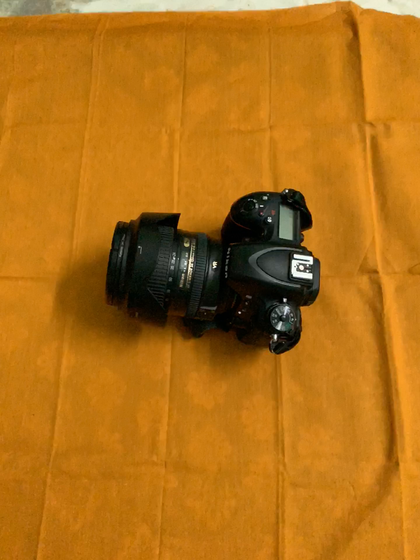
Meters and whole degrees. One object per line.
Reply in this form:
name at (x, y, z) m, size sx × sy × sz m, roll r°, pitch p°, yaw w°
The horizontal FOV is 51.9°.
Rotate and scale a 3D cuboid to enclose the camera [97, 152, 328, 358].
camera at (0.007, -0.017, 0.392) m, size 0.170 × 0.110 × 0.152 m, roll 3°, pitch 73°, yaw 3°
